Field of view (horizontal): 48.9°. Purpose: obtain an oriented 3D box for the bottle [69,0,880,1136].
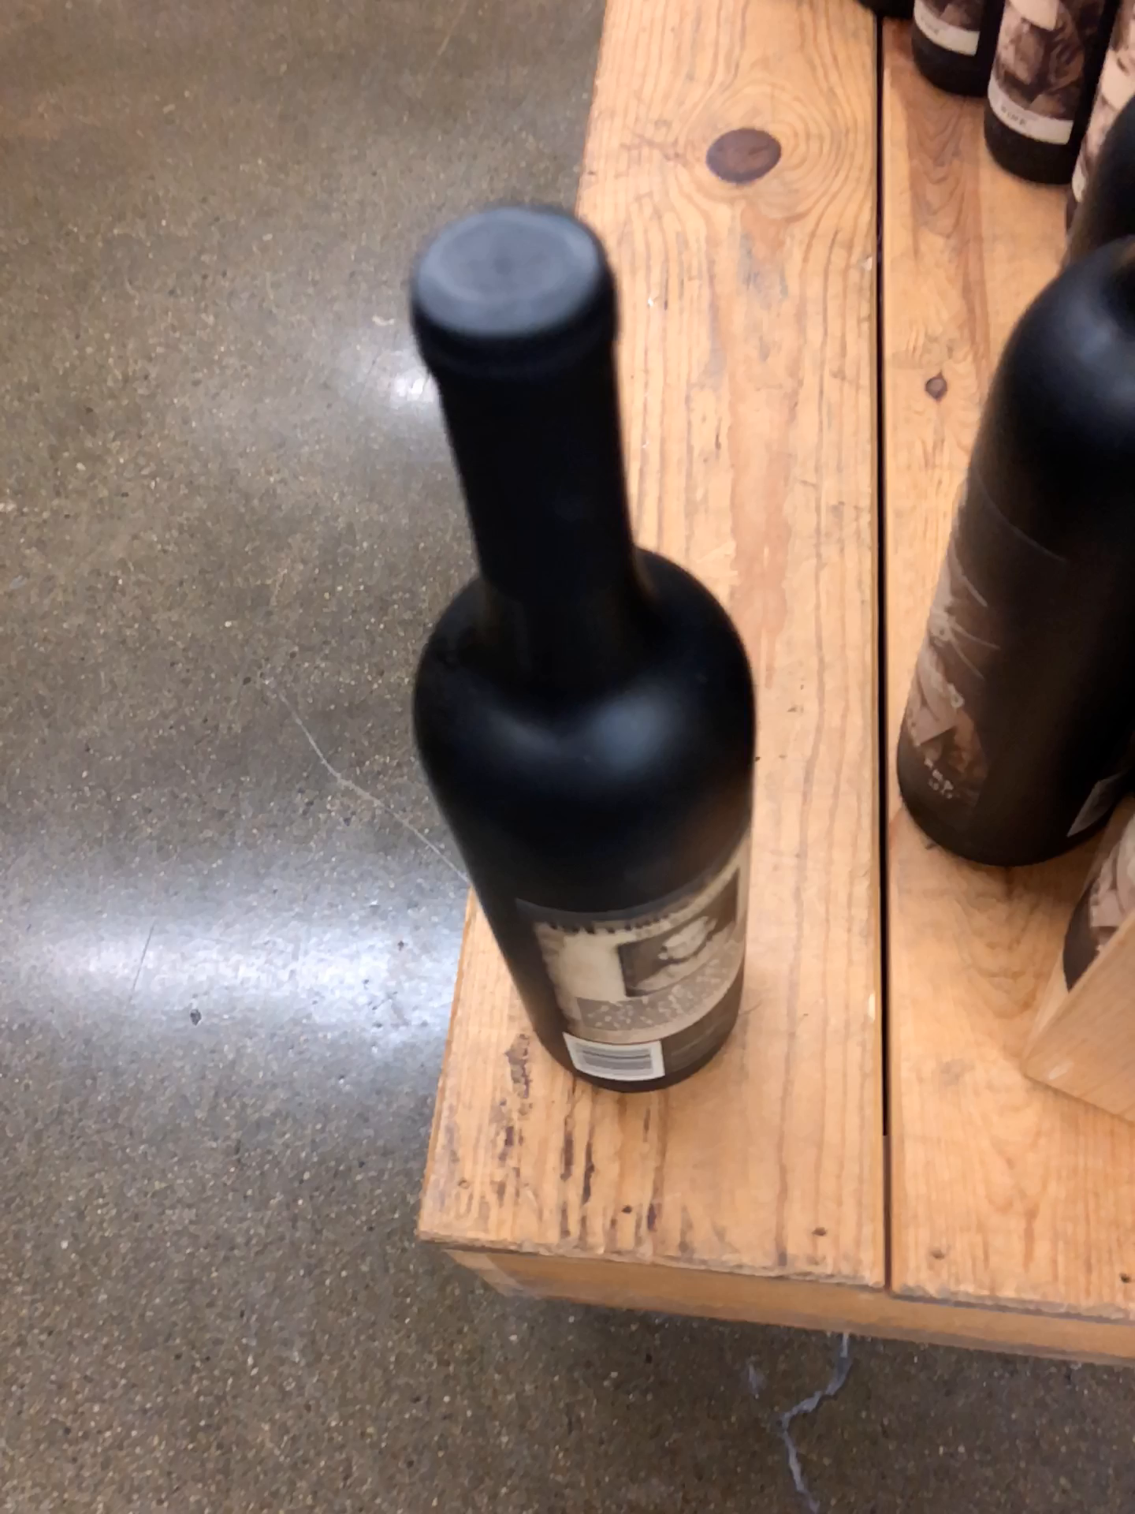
[{"bbox_3d":[0.000,0.003,0.299,0.080,0.300,0.080,-3,61,5],"label":"bottle"}]
